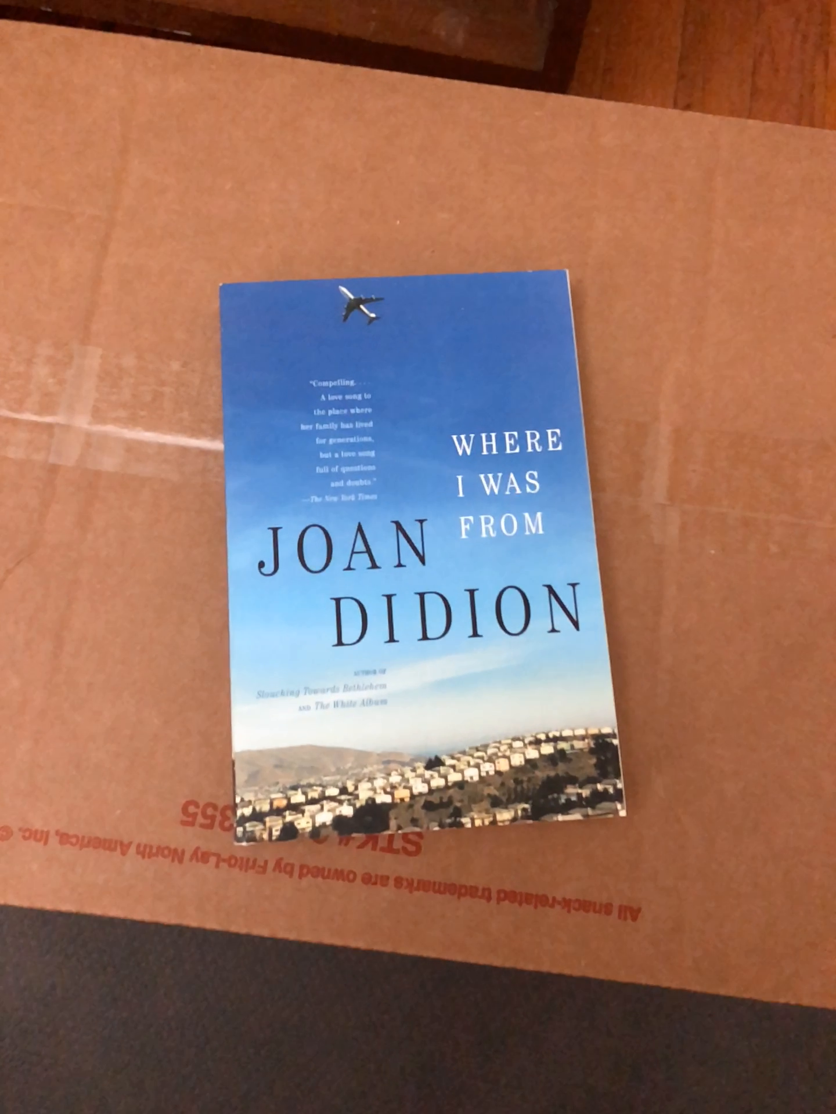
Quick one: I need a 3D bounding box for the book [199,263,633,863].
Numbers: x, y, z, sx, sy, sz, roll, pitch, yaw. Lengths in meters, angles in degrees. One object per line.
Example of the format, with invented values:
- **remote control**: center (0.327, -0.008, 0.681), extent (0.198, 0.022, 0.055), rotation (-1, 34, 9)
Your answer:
- **book**: center (-0.006, -0.004, 0.339), extent (0.140, 0.020, 0.210), rotation (-4, 77, -3)
